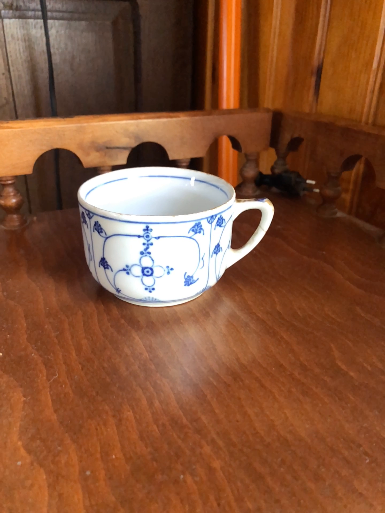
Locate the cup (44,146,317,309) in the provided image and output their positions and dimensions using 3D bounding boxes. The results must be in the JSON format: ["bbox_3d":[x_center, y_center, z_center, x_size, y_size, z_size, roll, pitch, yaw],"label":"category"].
[{"bbox_3d":[-0.005,-0.020,0.238,0.120,0.060,0.080,2,26,1],"label":"cup"}]
